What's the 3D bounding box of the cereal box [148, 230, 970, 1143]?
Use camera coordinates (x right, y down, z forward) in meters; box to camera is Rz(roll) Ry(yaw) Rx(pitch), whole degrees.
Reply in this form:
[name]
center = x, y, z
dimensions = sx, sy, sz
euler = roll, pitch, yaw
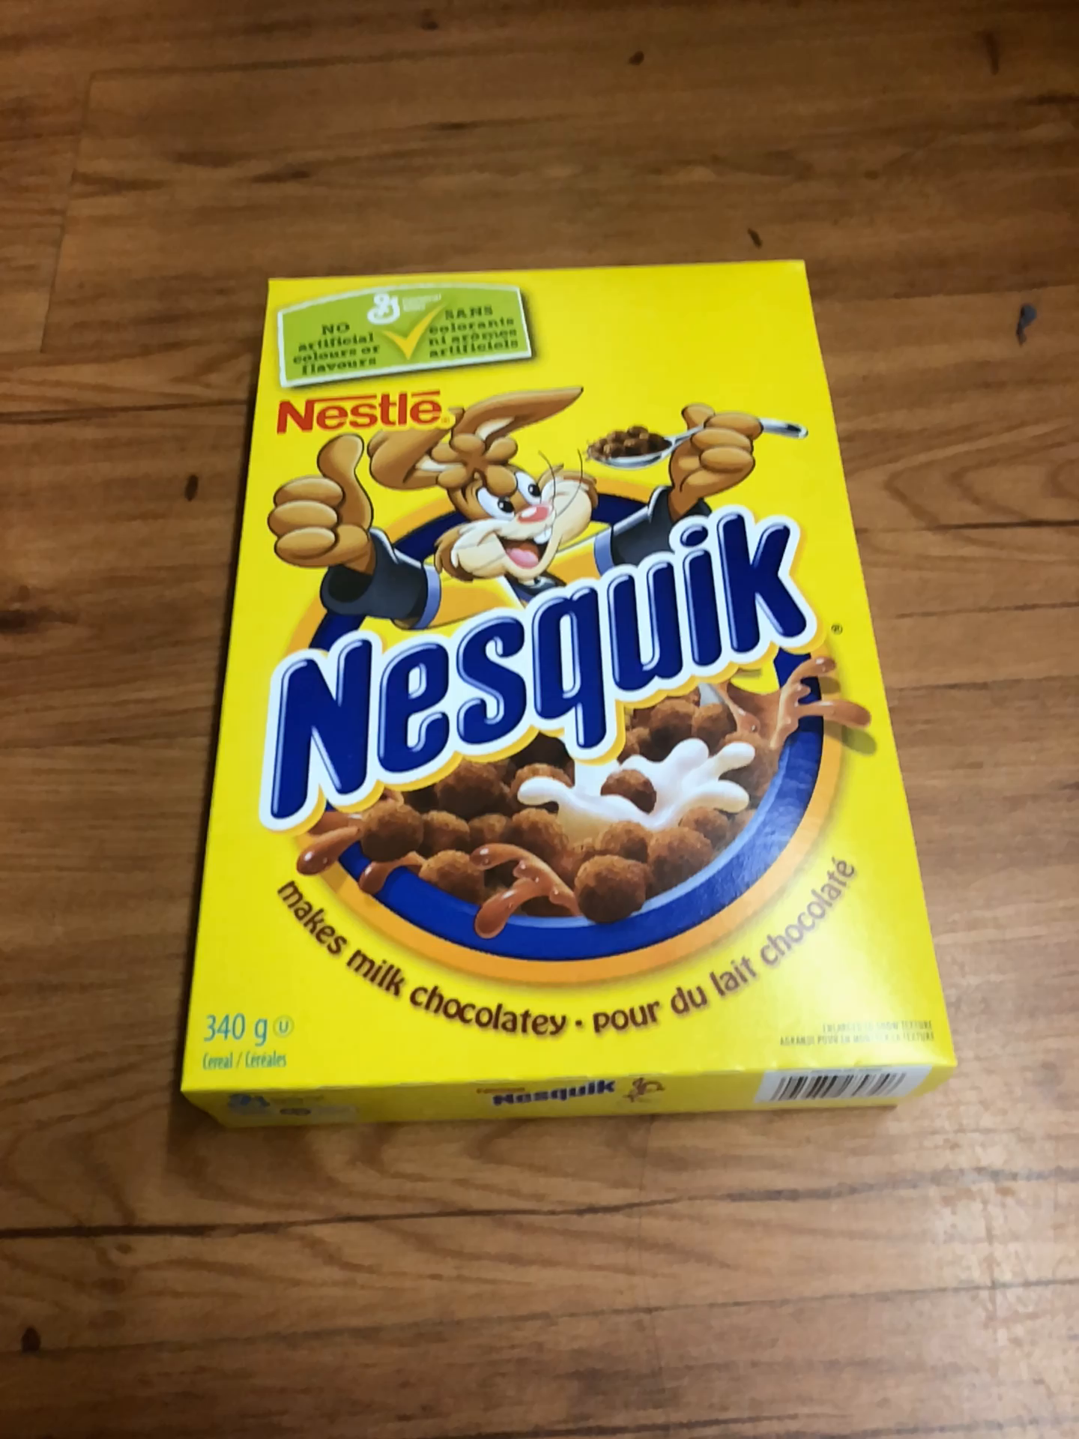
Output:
[cereal box]
center = 0.000, -0.025, 0.381
dimensions = 0.200, 0.060, 0.291
euler = -3, 63, 1
